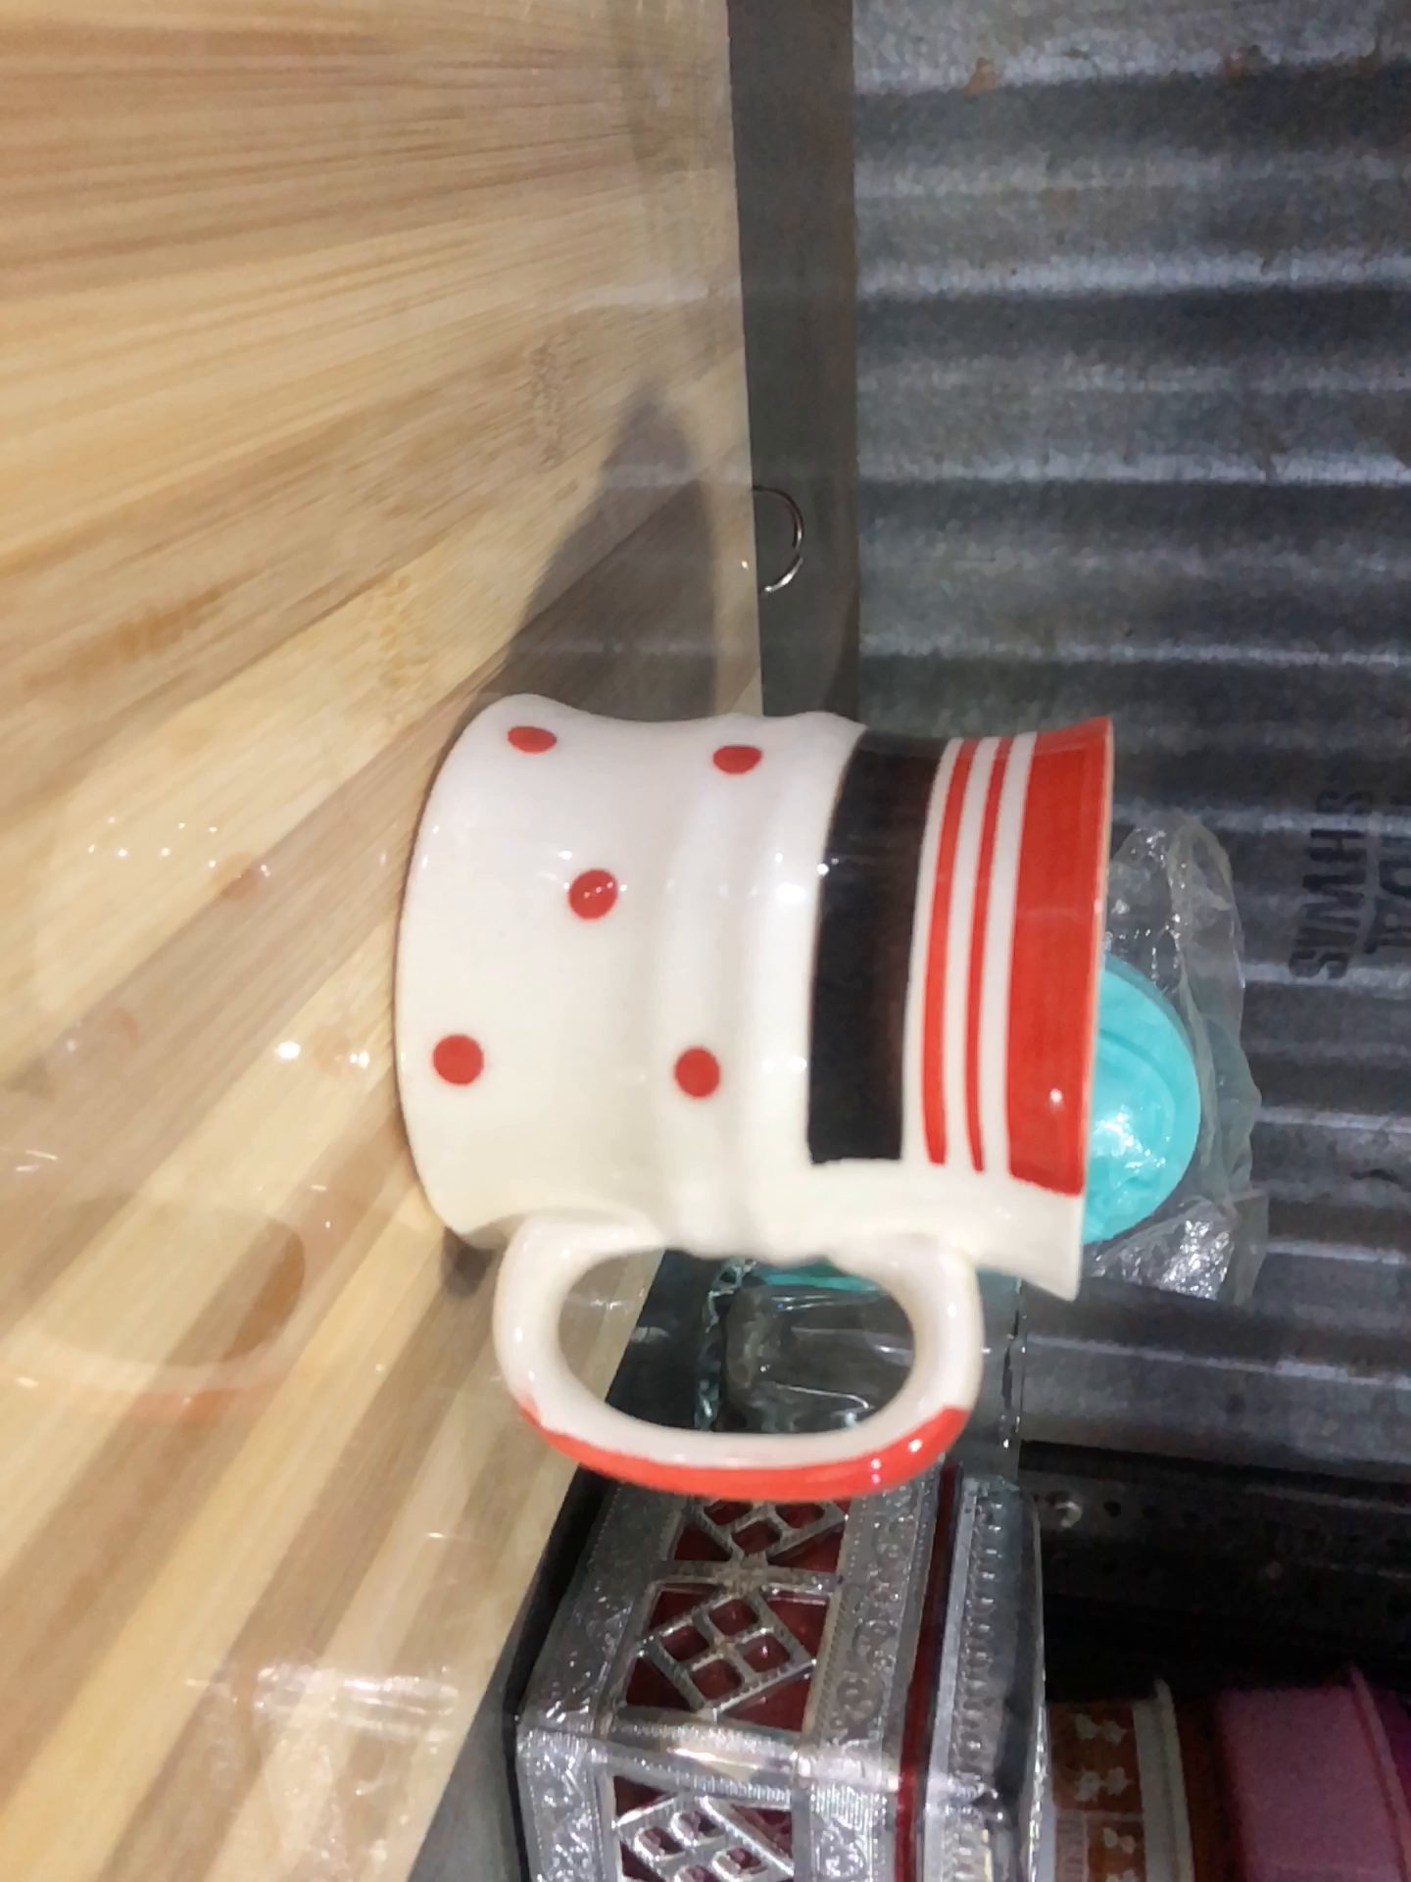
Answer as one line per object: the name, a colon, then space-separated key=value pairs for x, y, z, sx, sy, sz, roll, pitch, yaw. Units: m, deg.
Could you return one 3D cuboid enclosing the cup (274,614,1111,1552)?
cup: x=0.010 y=0.026 z=0.235 sx=0.100 sy=0.090 sz=0.110 roll=3 pitch=90 yaw=-78
